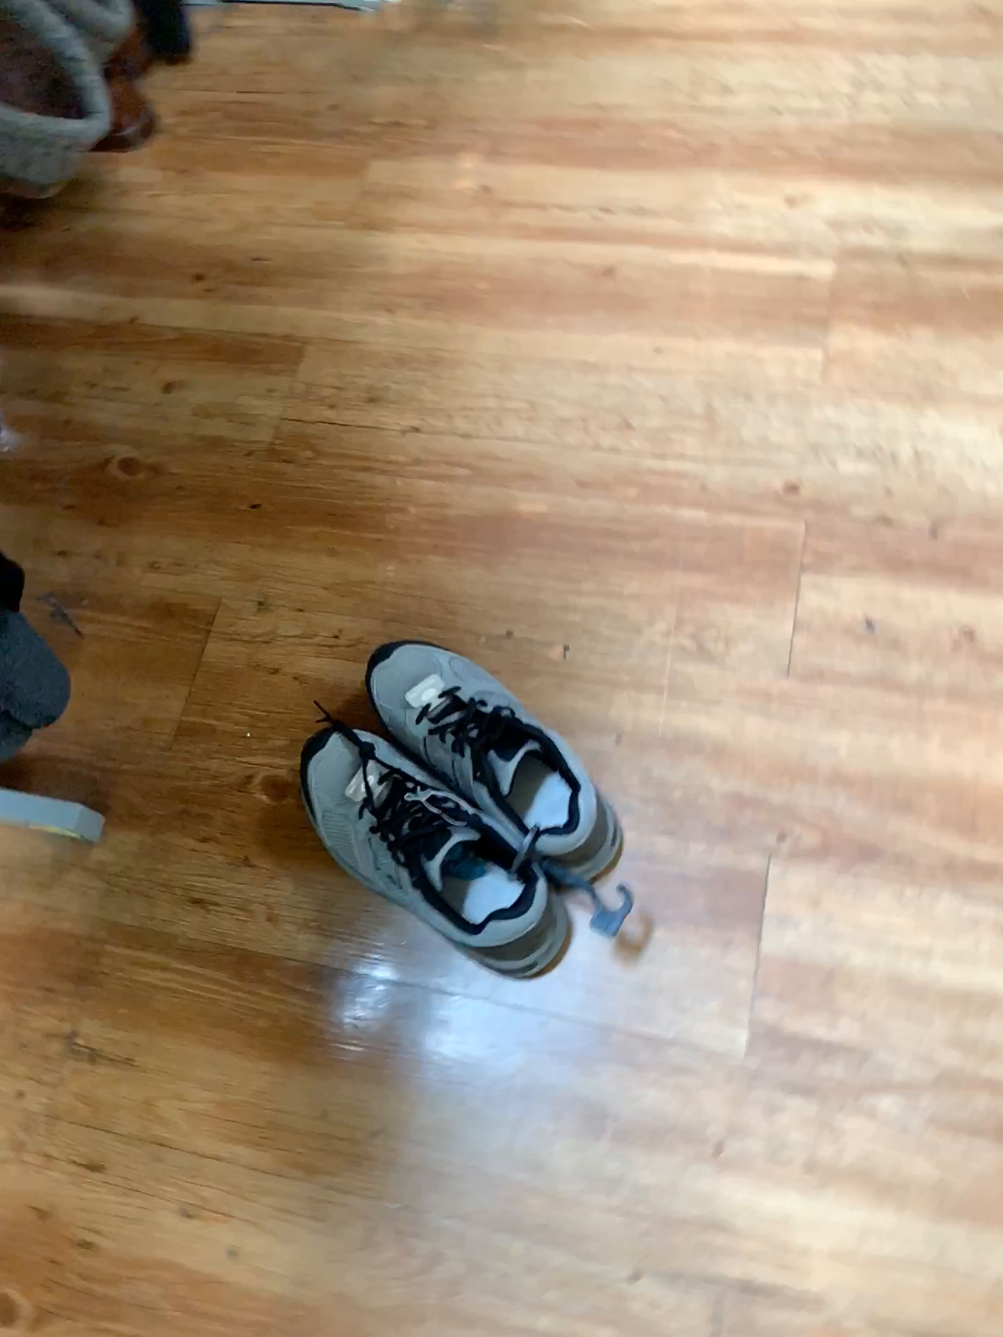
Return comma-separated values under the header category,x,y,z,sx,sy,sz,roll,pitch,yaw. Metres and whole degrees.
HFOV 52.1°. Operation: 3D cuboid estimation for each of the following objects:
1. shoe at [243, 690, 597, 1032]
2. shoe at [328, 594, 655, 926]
category,x,y,z,sx,sy,sz,roll,pitch,yaw
shoe,-0.073,0.172,0.939,0.309,0.099,0.123,38,77,20
shoe,-0.011,0.082,0.965,0.117,0.089,0.308,-43,68,-10
